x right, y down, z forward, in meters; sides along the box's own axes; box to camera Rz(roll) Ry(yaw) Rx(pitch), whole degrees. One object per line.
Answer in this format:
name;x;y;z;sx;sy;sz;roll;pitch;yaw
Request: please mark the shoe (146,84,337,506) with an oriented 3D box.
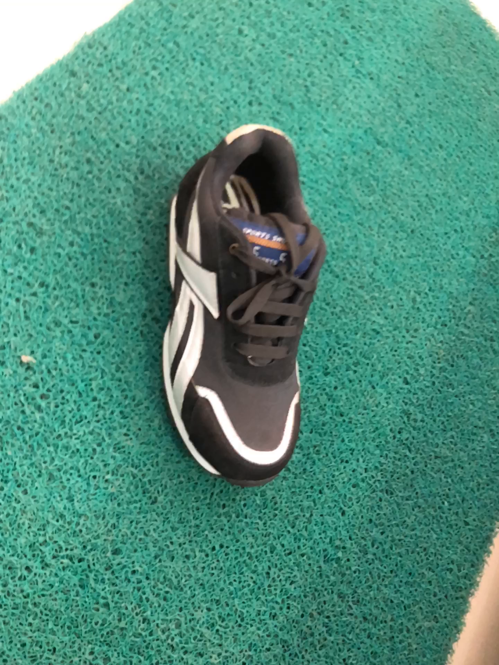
shoe;-0.011;-0.021;0.433;0.100;0.109;0.290;6;74;-24
